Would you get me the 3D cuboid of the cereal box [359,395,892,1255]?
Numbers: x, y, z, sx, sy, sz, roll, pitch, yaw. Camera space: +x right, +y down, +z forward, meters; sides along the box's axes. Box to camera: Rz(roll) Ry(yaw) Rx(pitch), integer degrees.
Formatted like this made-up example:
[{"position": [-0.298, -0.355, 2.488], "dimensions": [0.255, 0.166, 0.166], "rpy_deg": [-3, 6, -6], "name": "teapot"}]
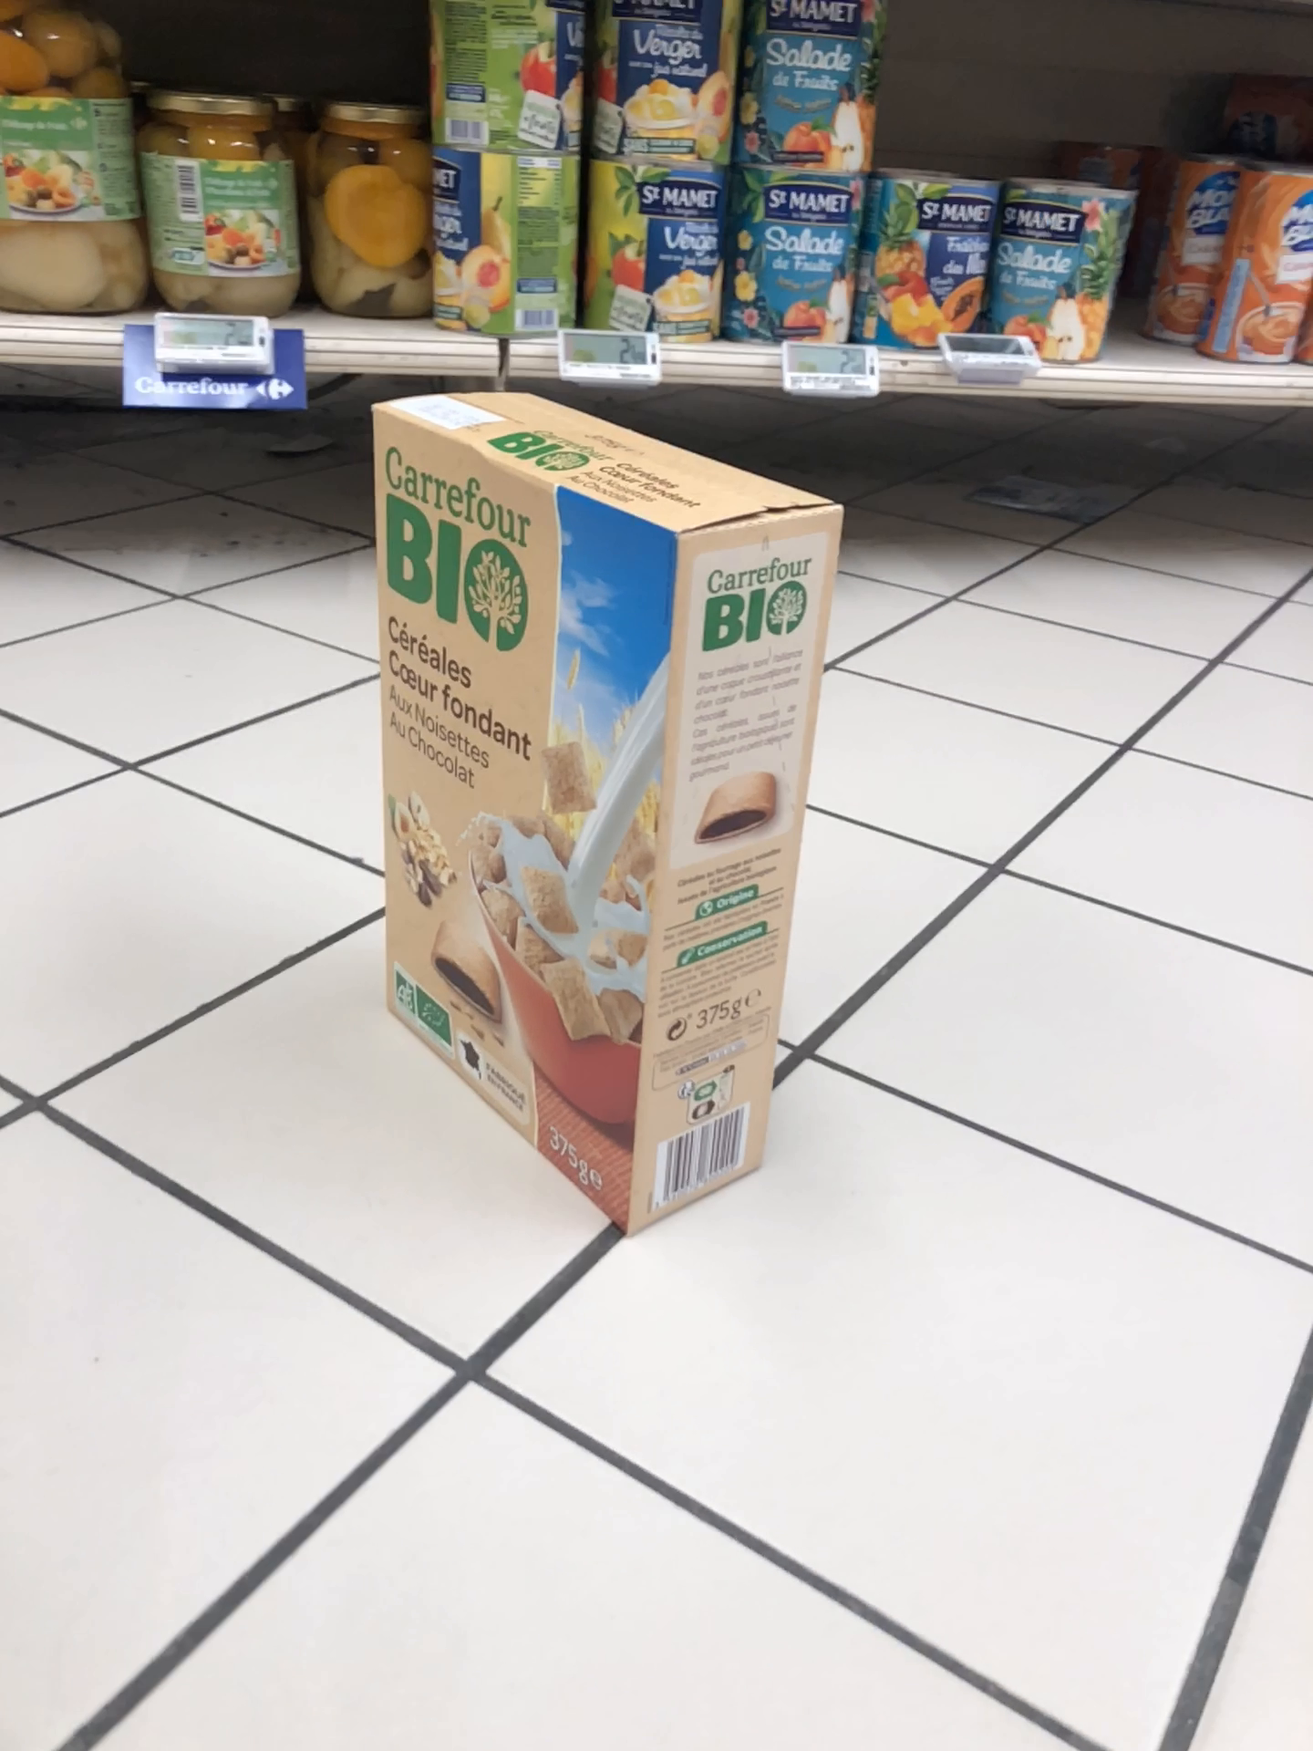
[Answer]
[{"position": [-0.024, -0.024, 0.481], "dimensions": [0.070, 0.229, 0.170], "rpy_deg": [-17, 34, -35], "name": "cereal box"}]
